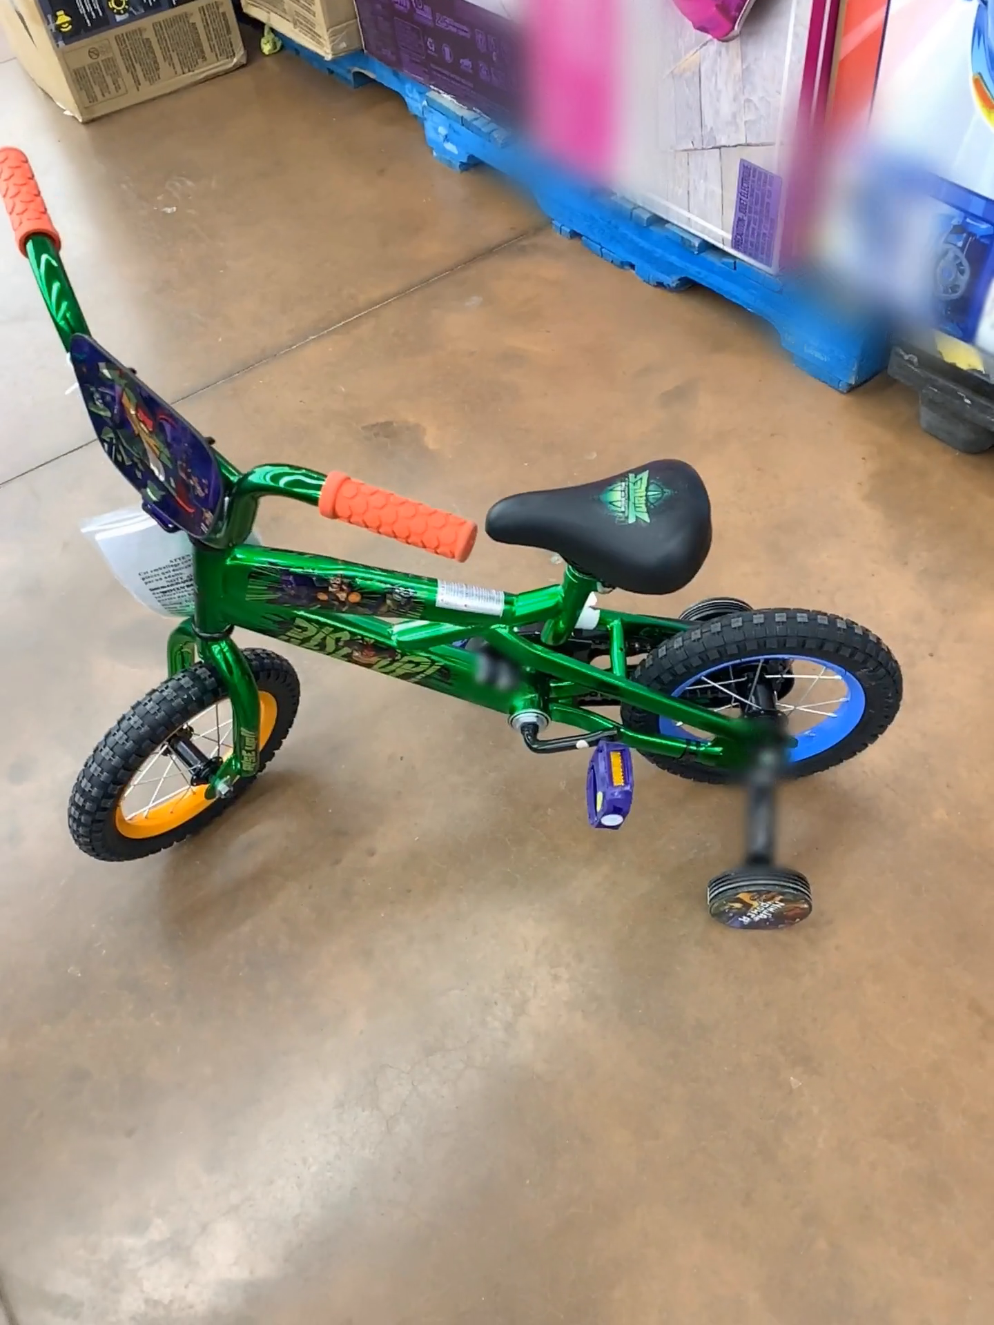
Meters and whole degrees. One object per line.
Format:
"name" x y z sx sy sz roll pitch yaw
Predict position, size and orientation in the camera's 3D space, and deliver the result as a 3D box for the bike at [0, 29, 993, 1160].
"bike" -0.029 -0.006 0.856 0.828 0.677 0.533 -6 51 1
